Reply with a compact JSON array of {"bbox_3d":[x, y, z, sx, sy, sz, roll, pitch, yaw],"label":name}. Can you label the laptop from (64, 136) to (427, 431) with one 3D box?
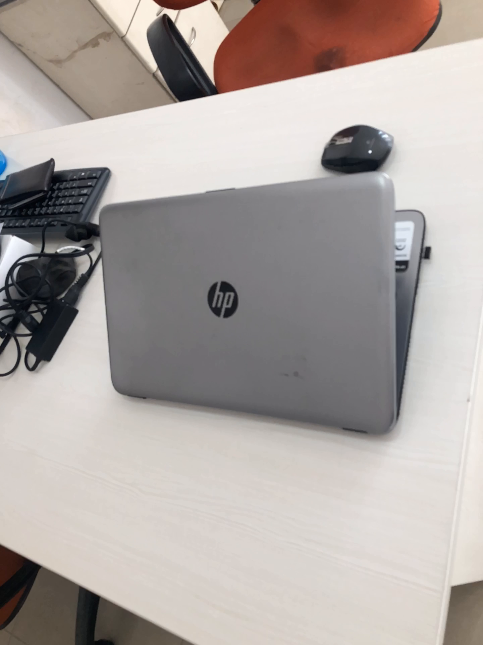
[{"bbox_3d":[-0.002,-0.041,0.603,0.370,0.120,0.251,2,70,34],"label":"laptop"}]
